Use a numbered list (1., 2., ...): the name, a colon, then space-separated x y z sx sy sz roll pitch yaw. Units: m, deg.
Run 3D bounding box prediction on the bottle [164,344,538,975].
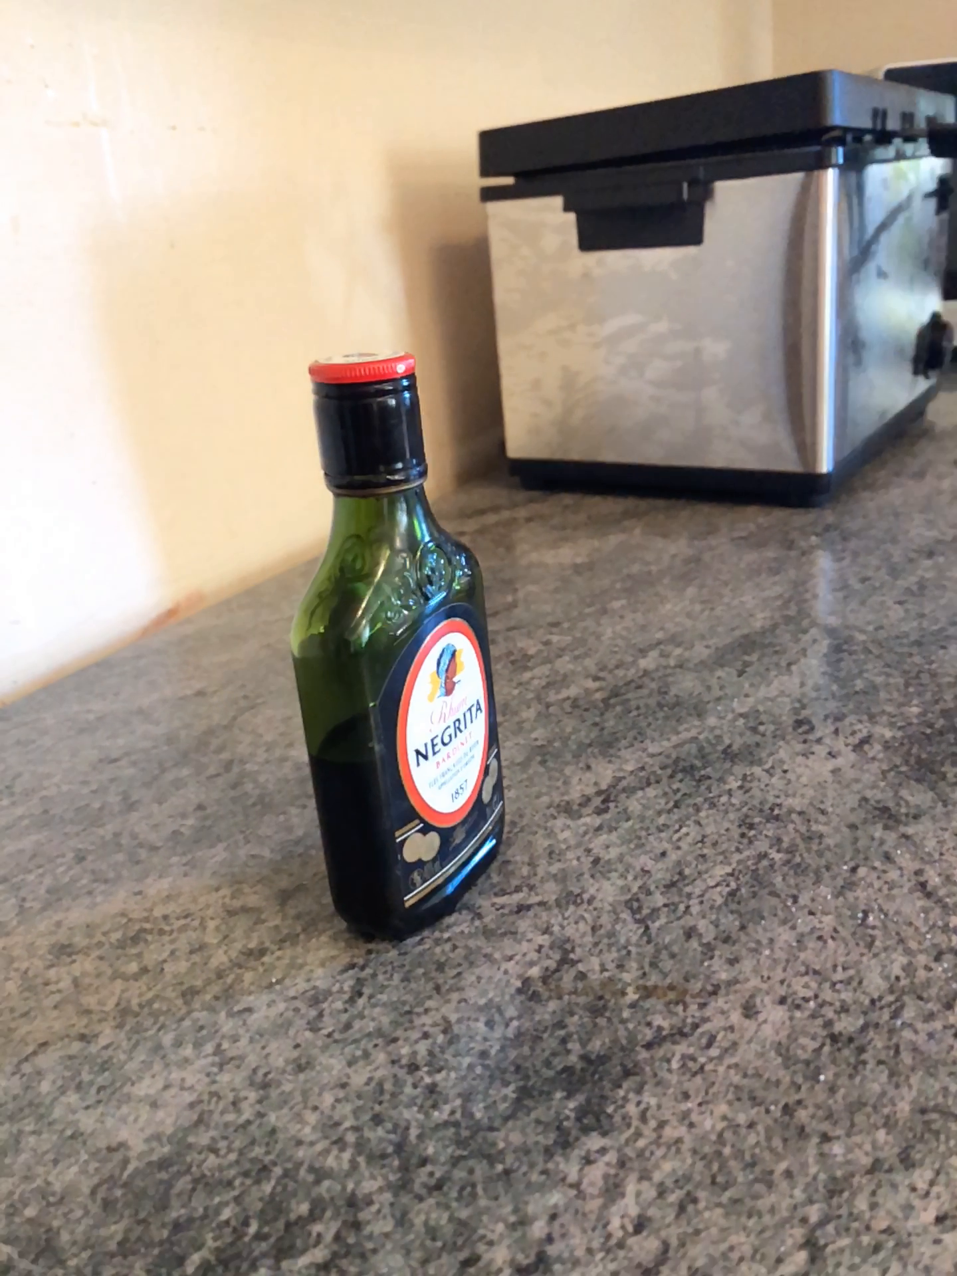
1. bottle: -0.029 0.002 0.310 0.050 0.159 0.080 6 23 29
